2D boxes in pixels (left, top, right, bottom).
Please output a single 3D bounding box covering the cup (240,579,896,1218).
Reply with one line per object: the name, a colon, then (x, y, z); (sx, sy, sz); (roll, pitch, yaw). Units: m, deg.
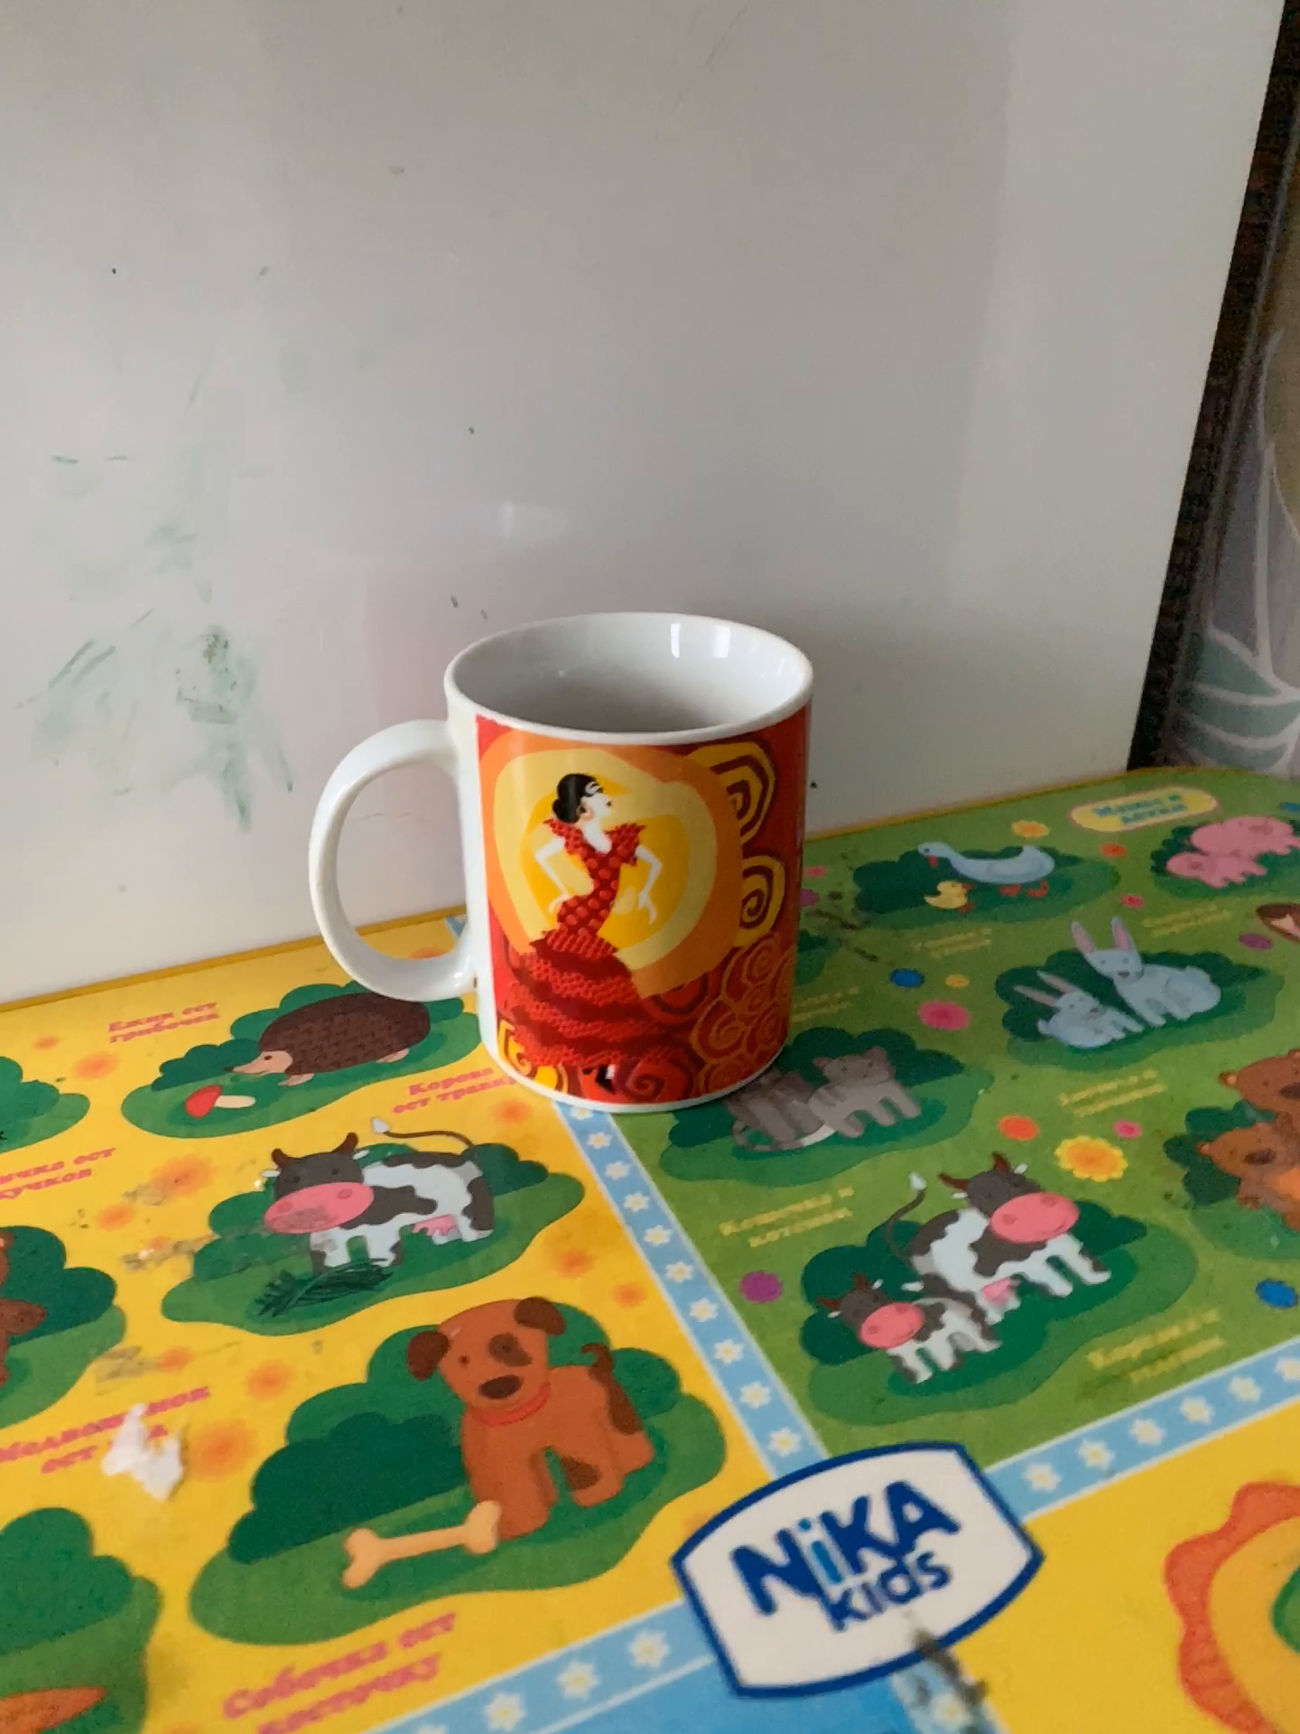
cup: (-0.021, 0.000, 0.306); (0.118, 0.097, 0.085); (-10, 29, -19)
